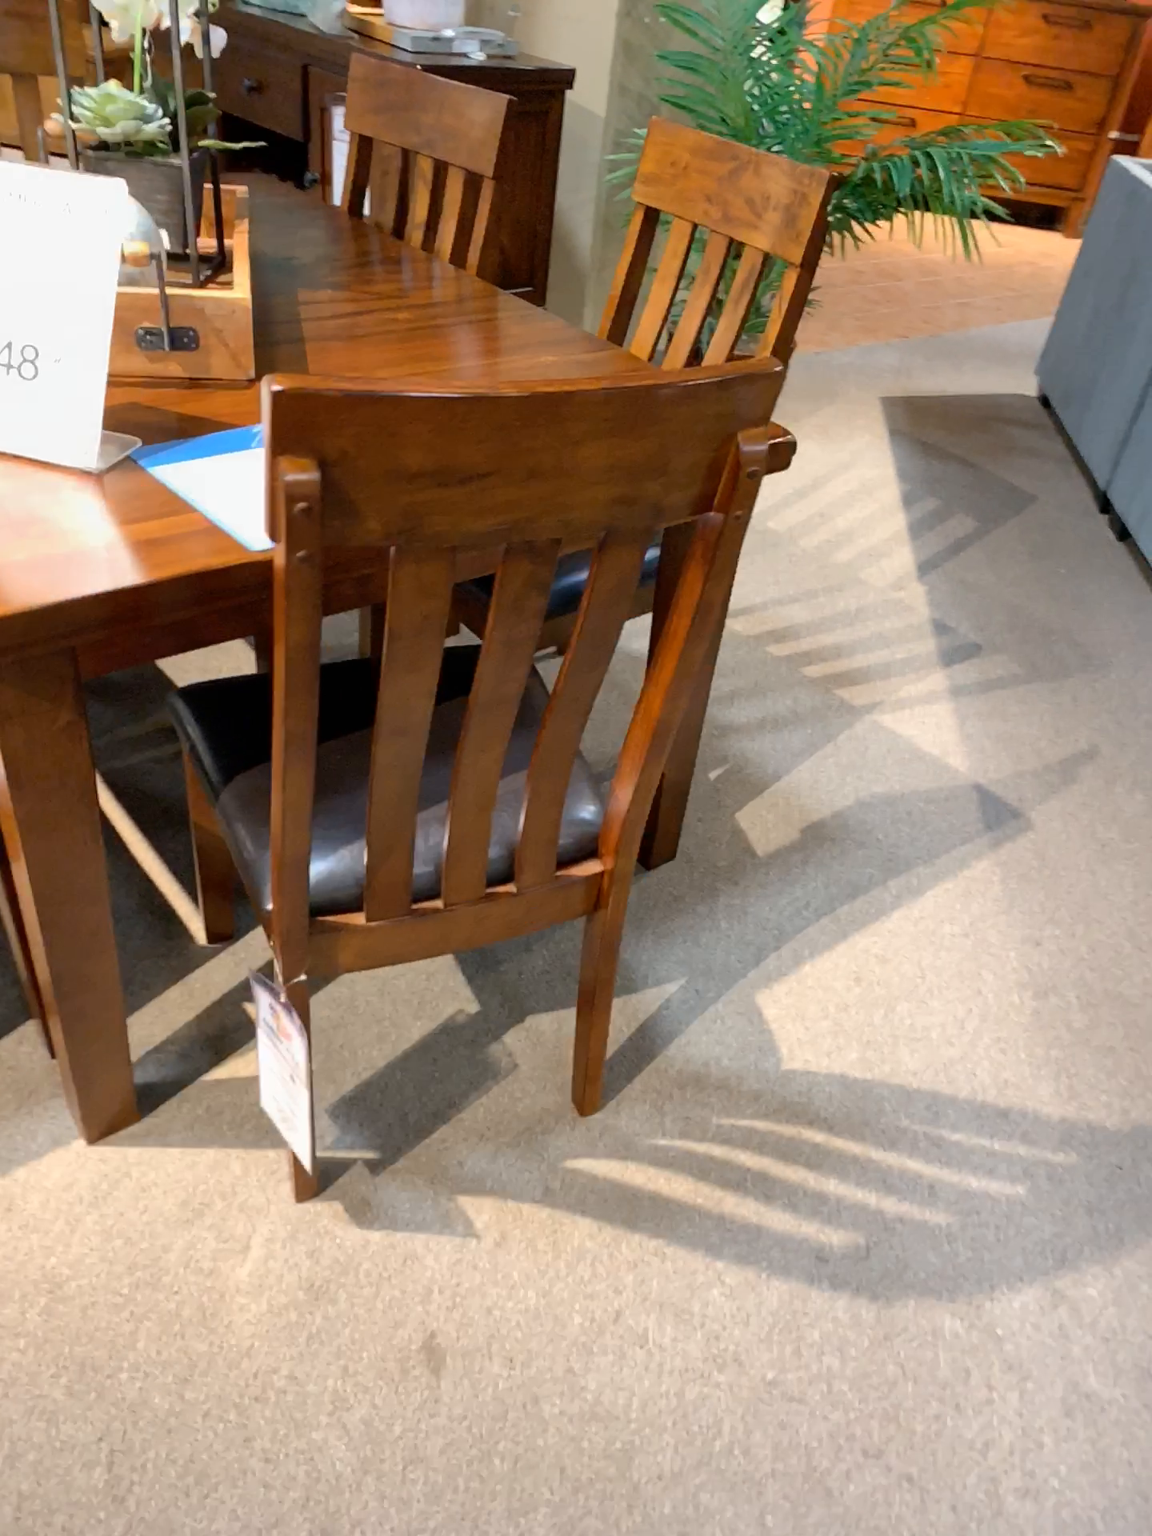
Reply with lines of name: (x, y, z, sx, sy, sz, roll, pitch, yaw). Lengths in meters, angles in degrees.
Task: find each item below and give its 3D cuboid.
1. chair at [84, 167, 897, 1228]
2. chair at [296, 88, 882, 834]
chair: (-0.155, -0.076, 1.242, 0.531, 0.890, 0.541, -9, 40, -22)
chair: (-0.038, -0.493, 1.823, 0.530, 0.890, 0.593, -23, 47, -35)
